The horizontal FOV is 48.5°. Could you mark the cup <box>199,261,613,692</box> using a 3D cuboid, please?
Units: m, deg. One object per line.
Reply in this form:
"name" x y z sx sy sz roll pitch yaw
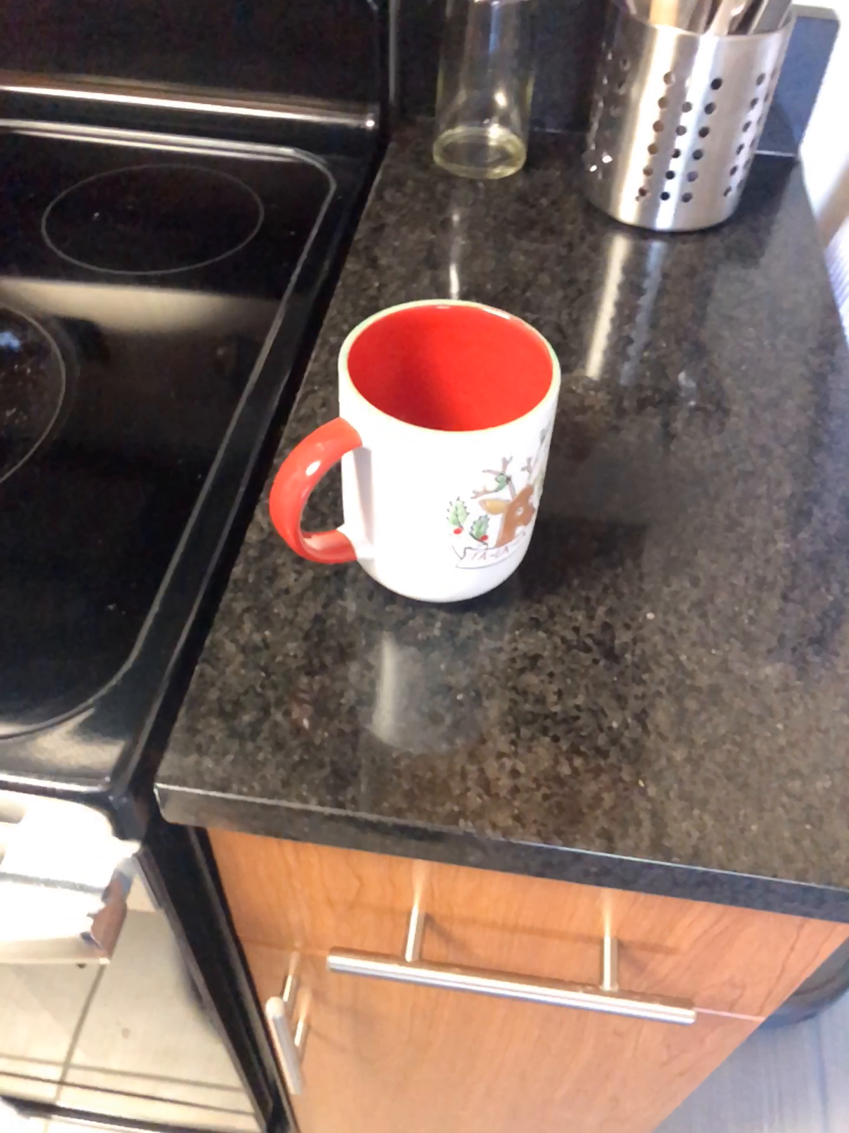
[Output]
"cup" -0.008 -0.040 0.400 0.130 0.110 0.090 -29 56 -26
